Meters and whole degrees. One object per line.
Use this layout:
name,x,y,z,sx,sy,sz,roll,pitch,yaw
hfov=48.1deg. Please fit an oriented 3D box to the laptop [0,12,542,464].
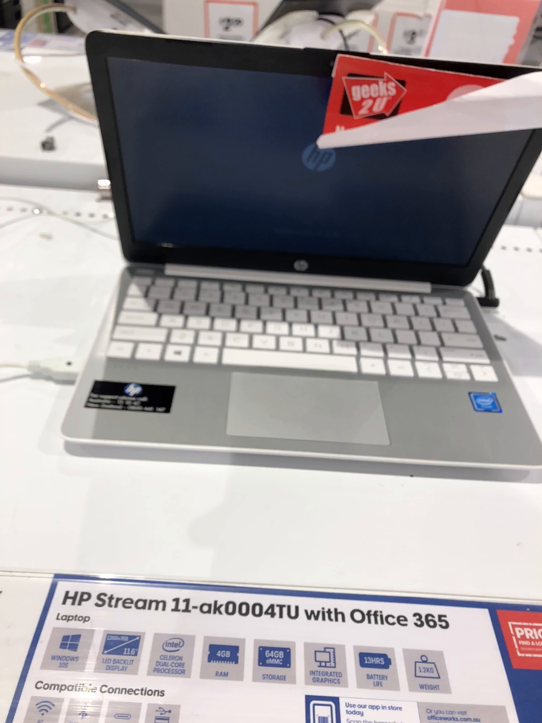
laptop,0.030,-0.075,0.354,0.273,0.173,0.184,4,39,-3
